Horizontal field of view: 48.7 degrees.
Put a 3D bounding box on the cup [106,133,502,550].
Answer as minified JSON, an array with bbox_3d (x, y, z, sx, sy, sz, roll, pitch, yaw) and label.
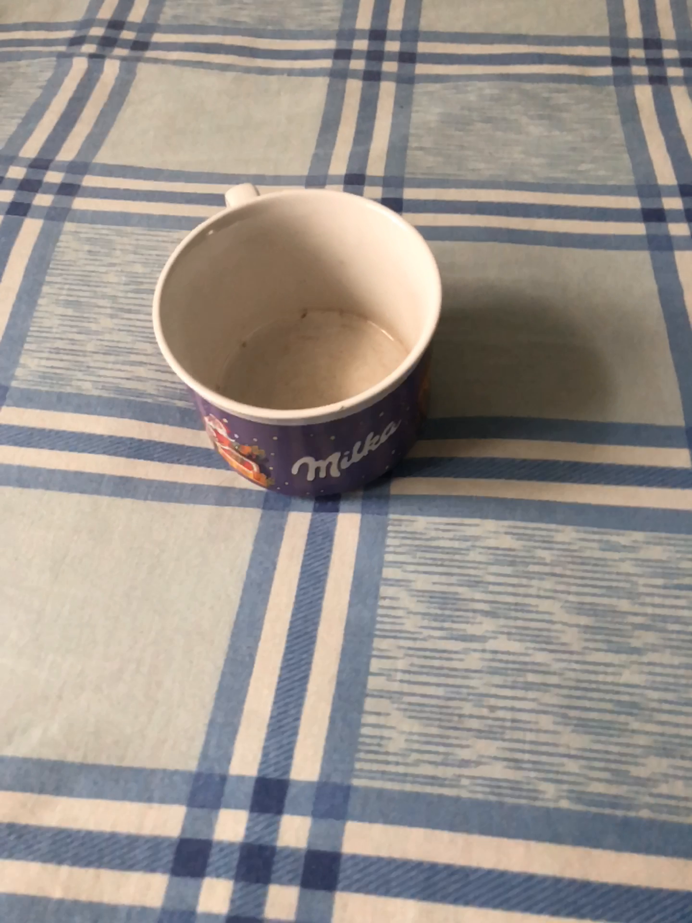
[{"bbox_3d":[-0.020,-0.051,0.299,0.104,0.063,0.130,-19,58,-10],"label":"cup"}]
